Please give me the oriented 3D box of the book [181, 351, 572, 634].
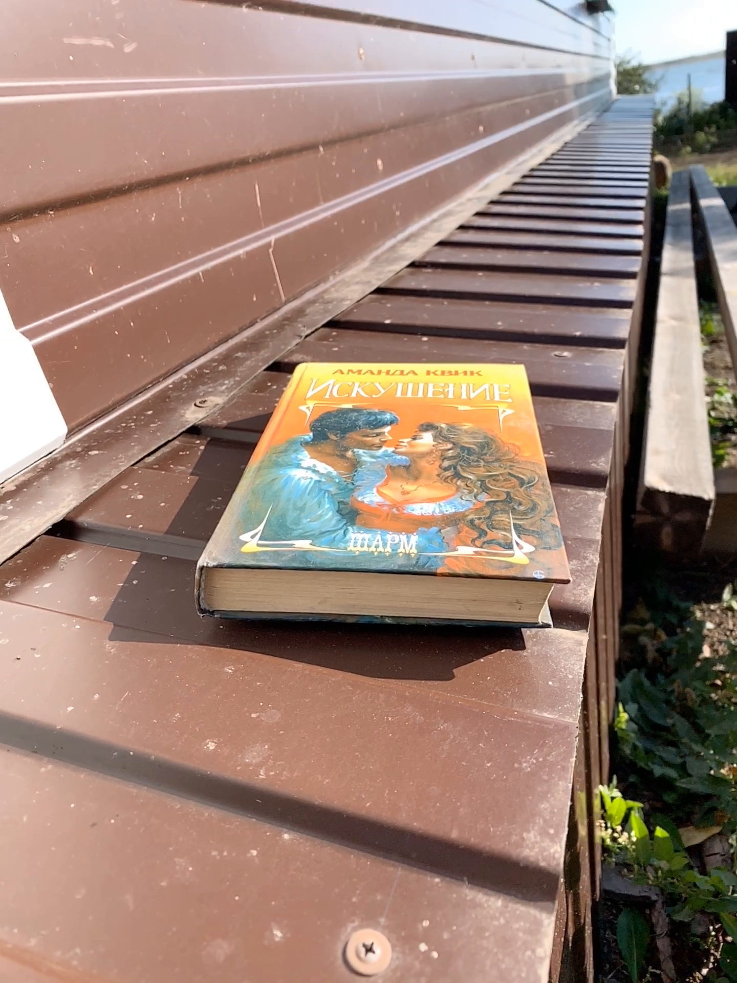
[{"bbox_3d":[0.012,-0.016,0.351,0.134,0.024,0.201,2,32,7],"label":"book"}]
